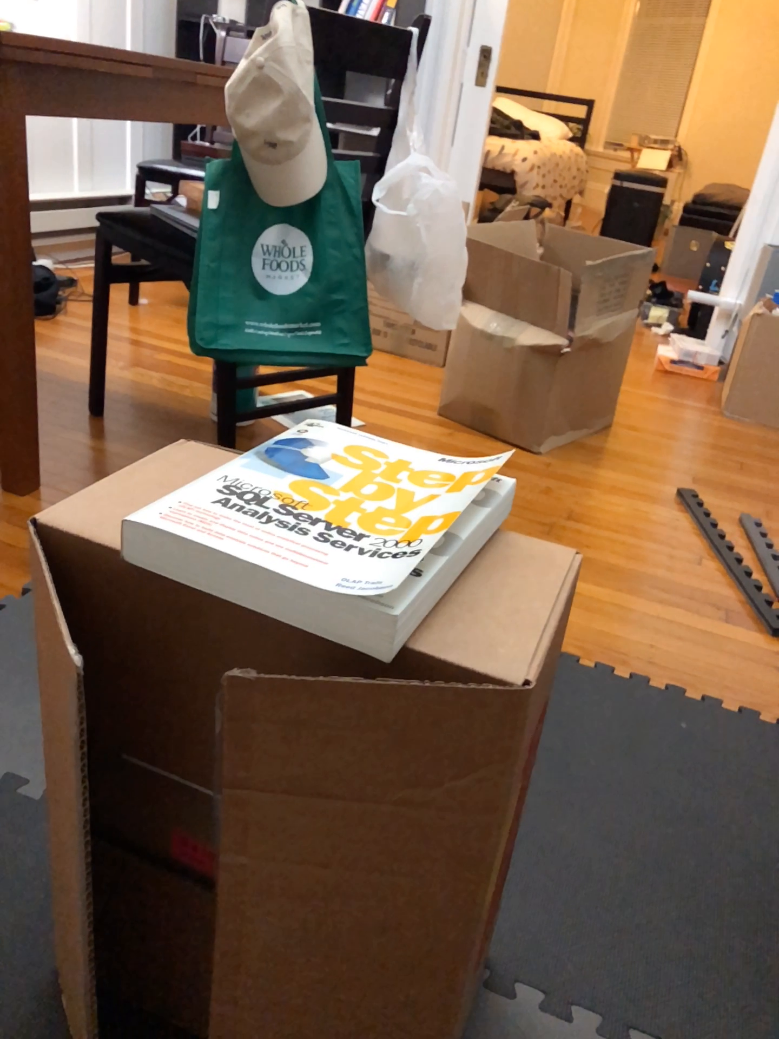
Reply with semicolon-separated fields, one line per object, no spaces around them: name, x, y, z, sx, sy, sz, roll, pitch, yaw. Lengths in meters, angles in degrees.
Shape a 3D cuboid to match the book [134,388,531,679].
book;-0.024;-0.009;0.605;0.200;0.050;0.241;18;29;12
